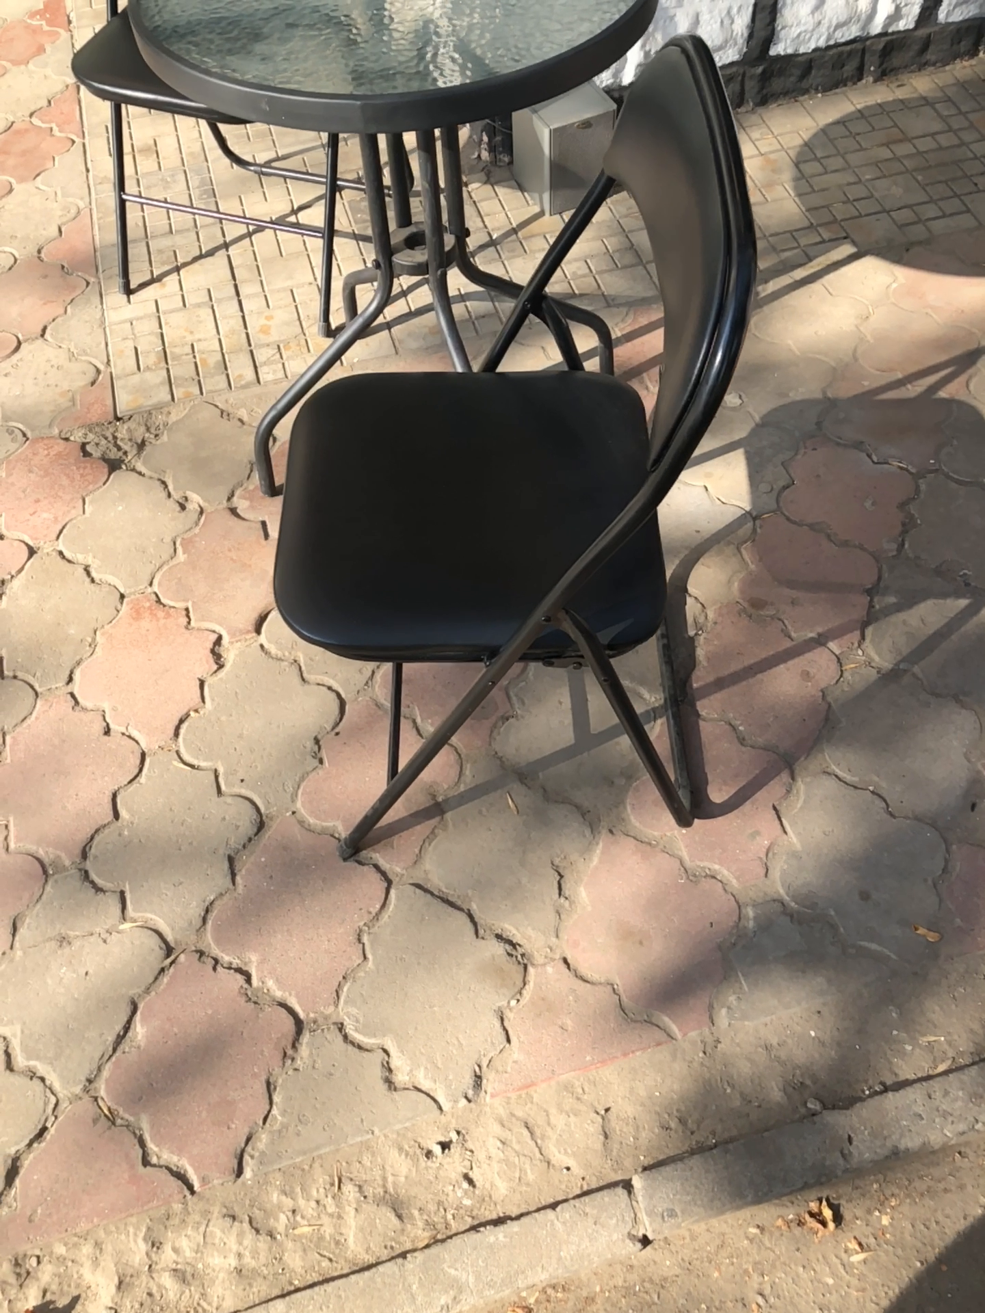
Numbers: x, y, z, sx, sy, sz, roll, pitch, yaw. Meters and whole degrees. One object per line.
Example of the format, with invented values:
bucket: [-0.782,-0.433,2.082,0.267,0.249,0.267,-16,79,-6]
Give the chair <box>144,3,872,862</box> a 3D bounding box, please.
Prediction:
chair: [0.016,-0.181,1.127,0.470,0.698,0.502,-3,53,1]
